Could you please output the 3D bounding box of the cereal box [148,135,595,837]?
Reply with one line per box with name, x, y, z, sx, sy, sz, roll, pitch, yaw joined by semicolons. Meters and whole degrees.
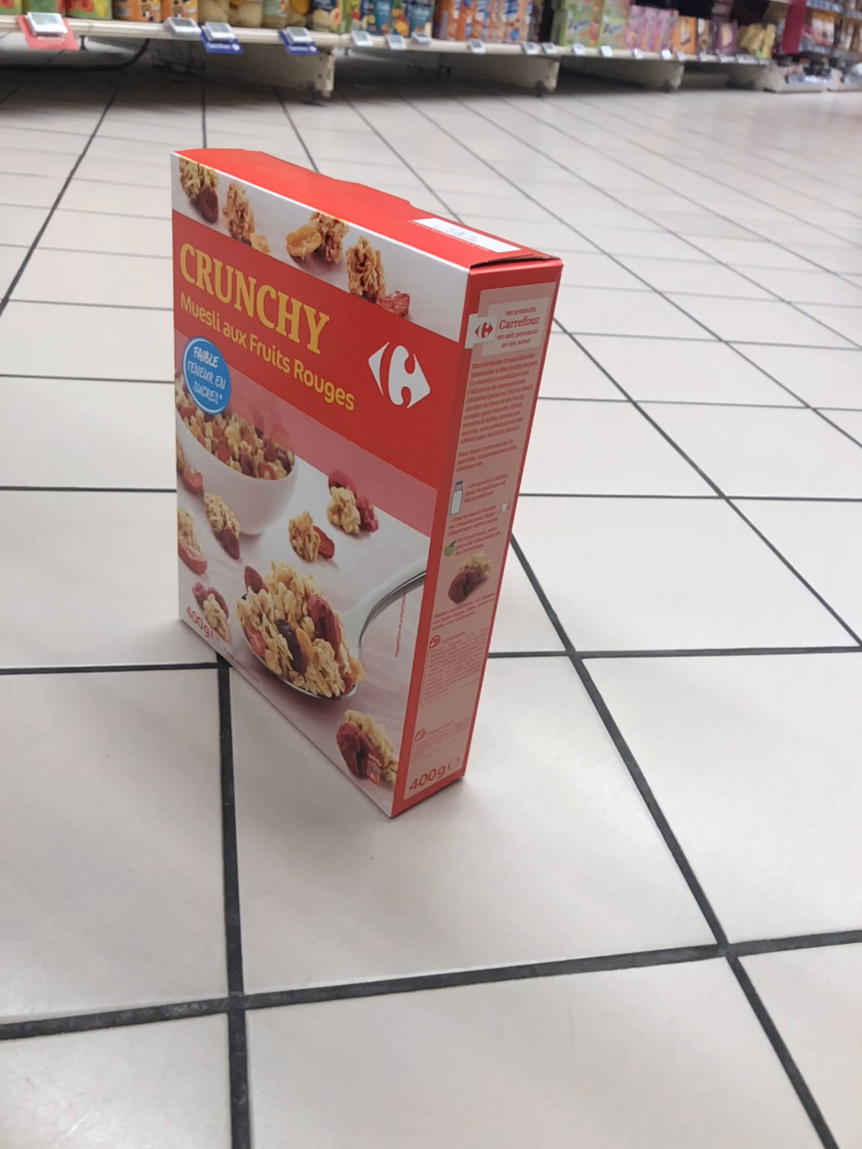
cereal box;-0.048;-0.045;0.430;0.060;0.248;0.200;-20;41;-39
